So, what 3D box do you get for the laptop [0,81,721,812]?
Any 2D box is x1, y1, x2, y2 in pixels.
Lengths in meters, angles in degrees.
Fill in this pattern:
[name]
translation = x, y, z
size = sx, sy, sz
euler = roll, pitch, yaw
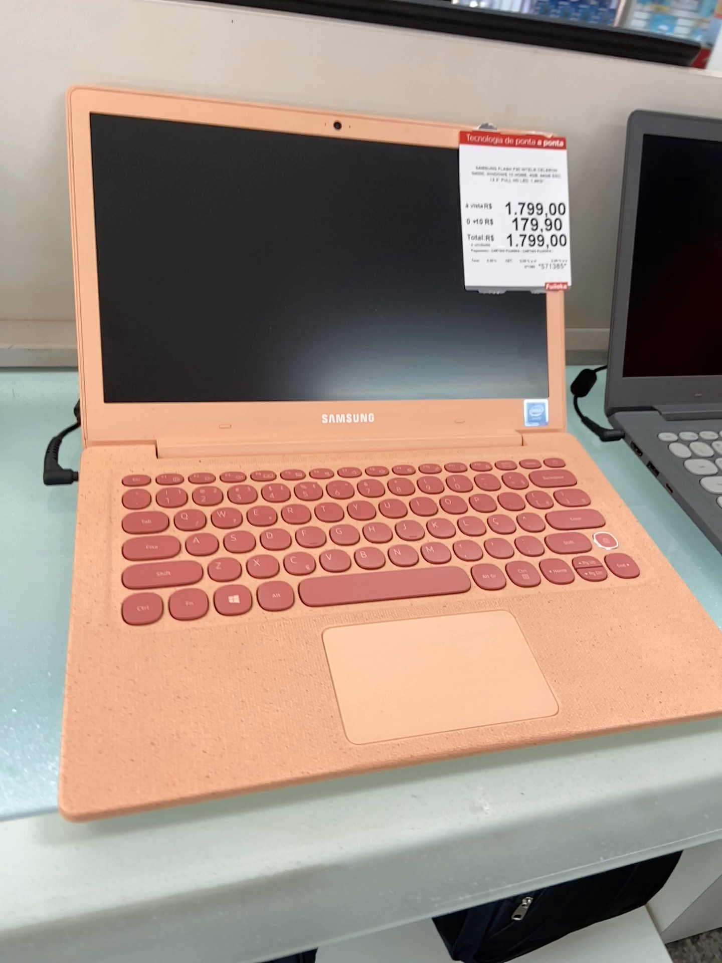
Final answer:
[laptop]
translation = 0.016, -0.065, 0.406
size = 0.330, 0.160, 0.360
euler = -2, 42, -16
